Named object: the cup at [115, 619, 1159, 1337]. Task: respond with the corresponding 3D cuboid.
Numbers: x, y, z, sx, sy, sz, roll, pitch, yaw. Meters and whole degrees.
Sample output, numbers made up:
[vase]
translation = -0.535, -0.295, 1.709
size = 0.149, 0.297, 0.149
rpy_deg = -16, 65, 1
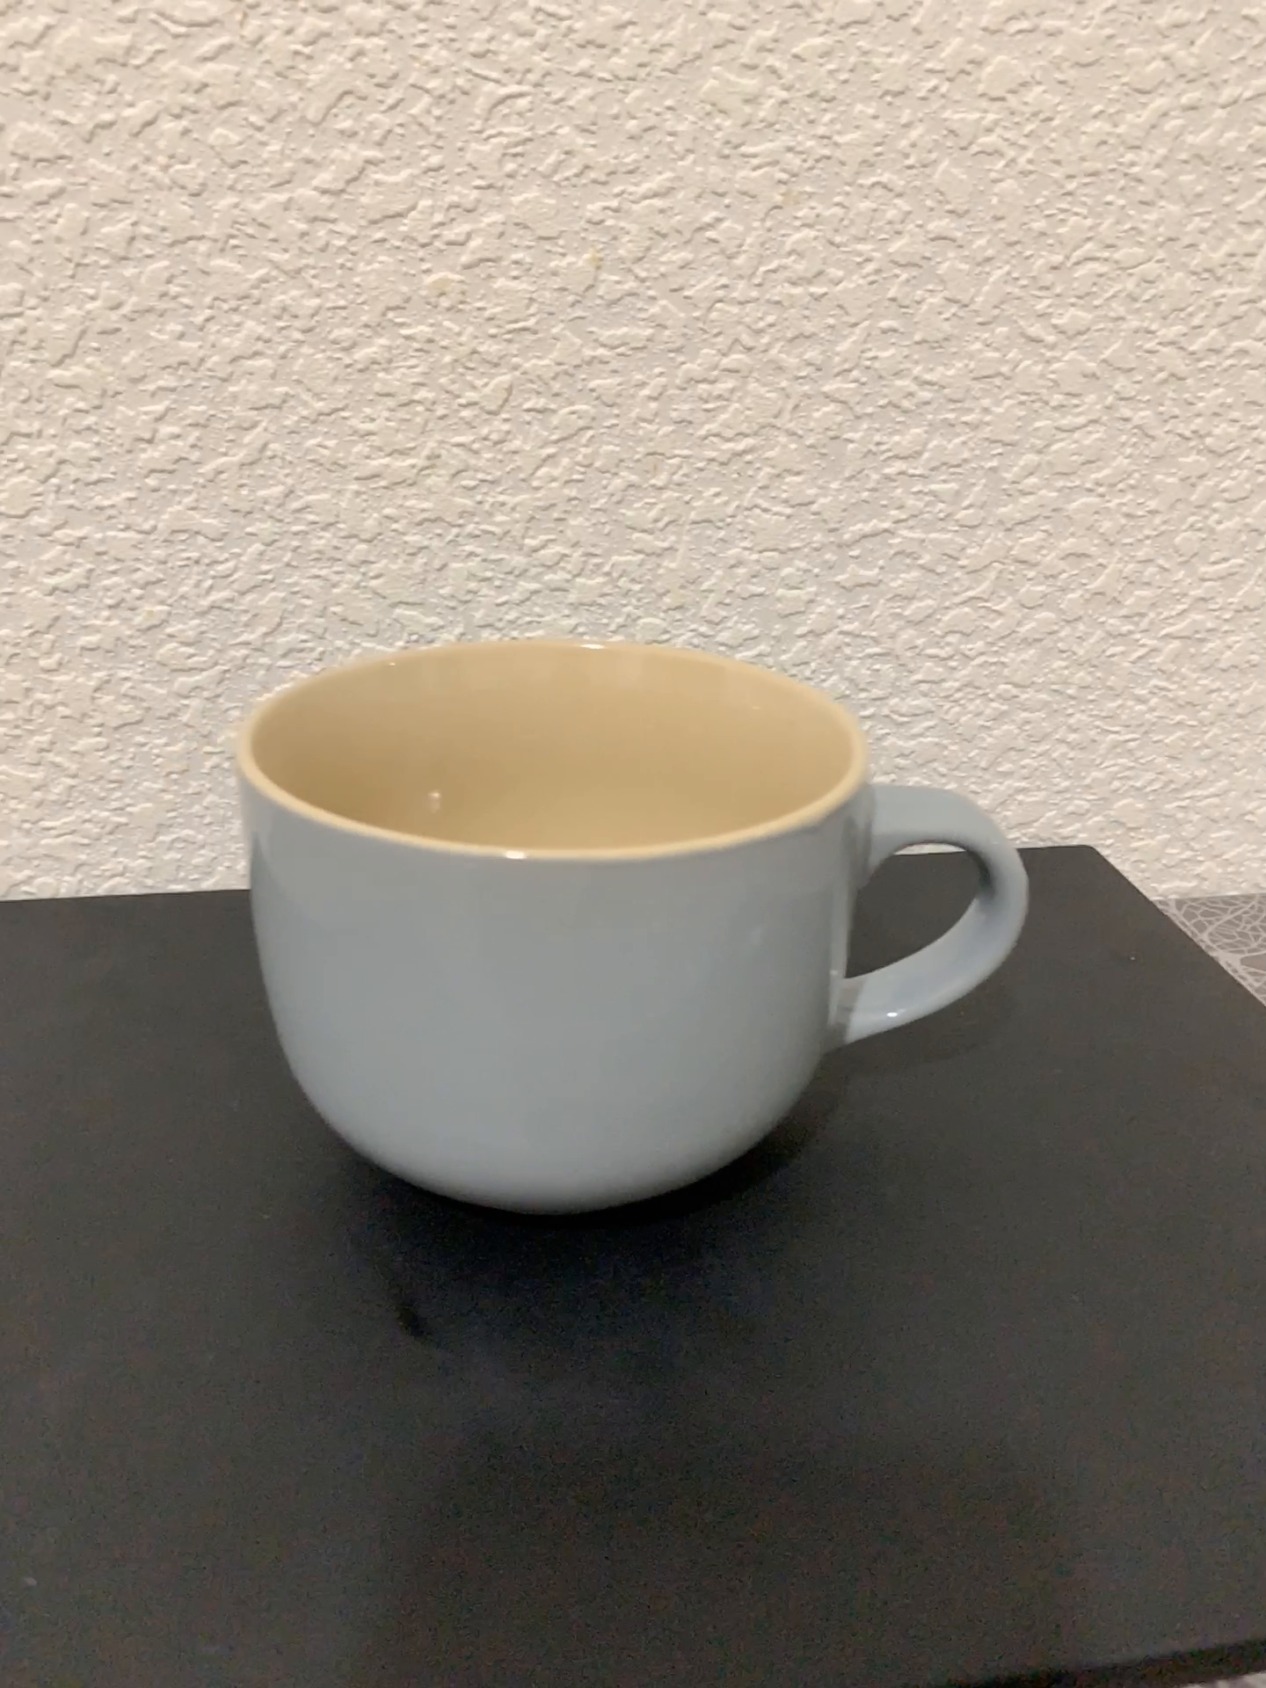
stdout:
[cup]
translation = -0.002, 0.014, 0.232
size = 0.132, 0.079, 0.111
rpy_deg = 0, 25, -3
